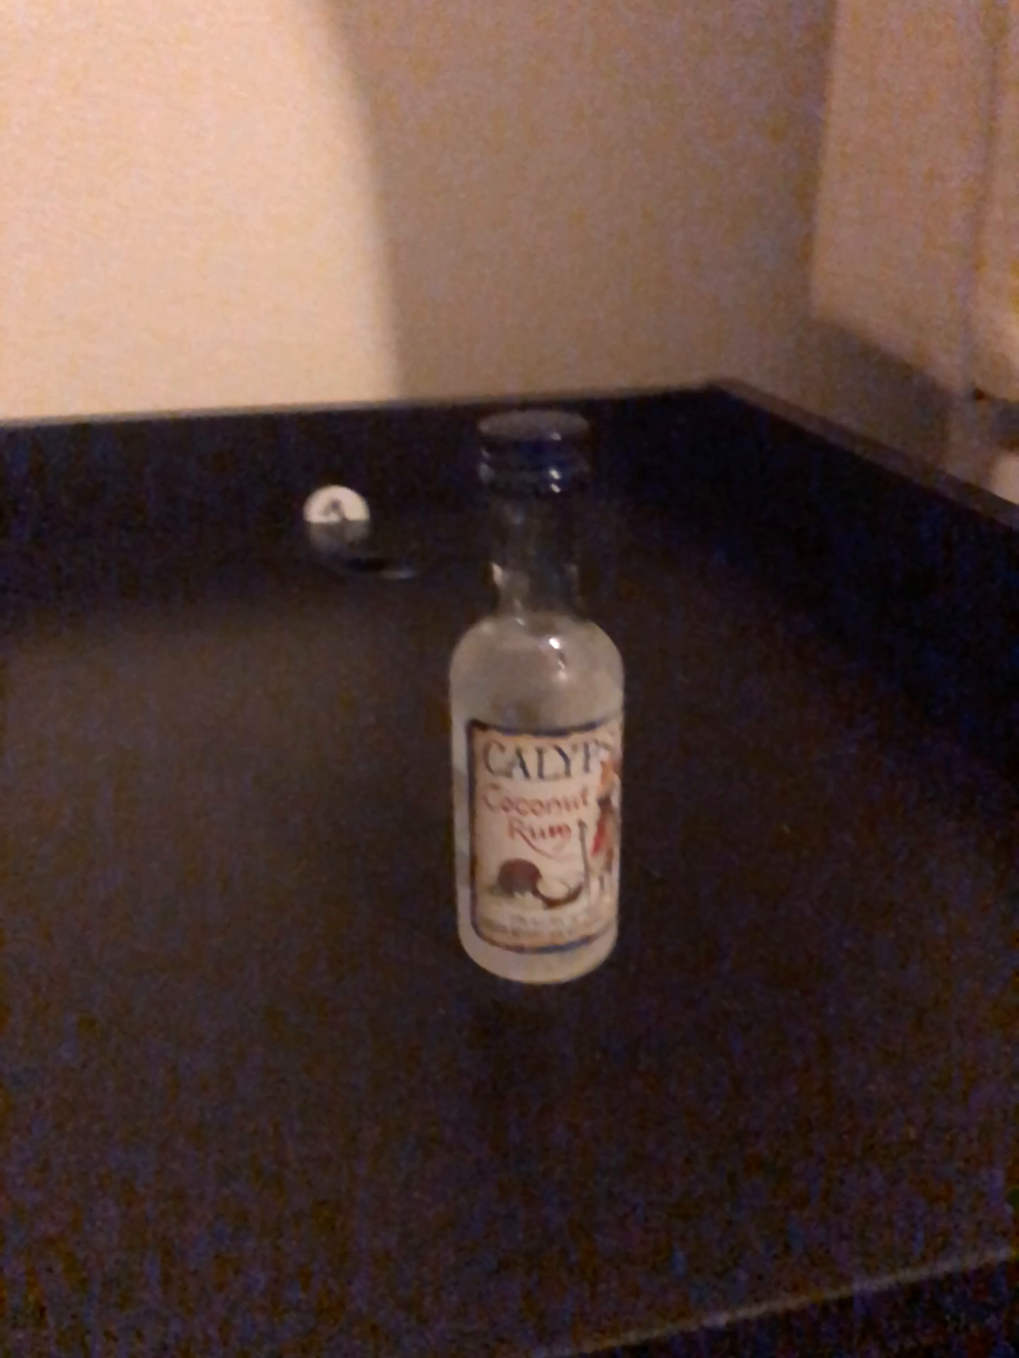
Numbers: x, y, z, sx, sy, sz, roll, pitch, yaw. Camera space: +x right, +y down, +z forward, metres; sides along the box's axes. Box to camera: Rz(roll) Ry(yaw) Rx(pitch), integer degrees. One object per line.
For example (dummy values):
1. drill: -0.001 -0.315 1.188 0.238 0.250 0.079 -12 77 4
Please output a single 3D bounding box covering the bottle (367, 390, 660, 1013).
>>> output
1. bottle: 0.000 0.004 0.207 0.040 0.104 0.036 -7 24 -14
